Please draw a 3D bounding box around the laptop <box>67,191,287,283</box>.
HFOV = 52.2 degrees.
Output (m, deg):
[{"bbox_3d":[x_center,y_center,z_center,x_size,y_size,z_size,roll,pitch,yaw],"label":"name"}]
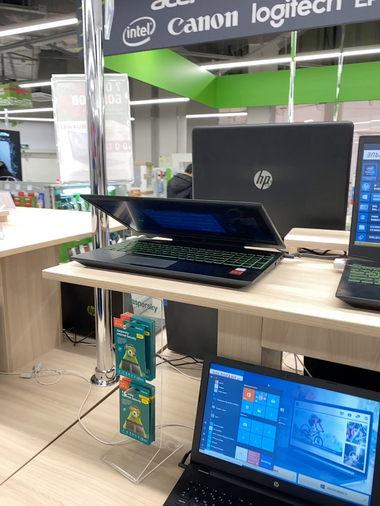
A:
[{"bbox_3d":[-0.018,-0.052,0.774,0.365,0.115,0.244,7,13,25],"label":"laptop"}]
